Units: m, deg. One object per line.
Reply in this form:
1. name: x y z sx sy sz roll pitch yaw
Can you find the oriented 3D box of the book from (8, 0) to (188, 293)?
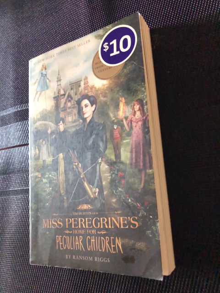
1. book: -0.024 0.000 0.243 0.160 0.050 0.230 -10 78 27
